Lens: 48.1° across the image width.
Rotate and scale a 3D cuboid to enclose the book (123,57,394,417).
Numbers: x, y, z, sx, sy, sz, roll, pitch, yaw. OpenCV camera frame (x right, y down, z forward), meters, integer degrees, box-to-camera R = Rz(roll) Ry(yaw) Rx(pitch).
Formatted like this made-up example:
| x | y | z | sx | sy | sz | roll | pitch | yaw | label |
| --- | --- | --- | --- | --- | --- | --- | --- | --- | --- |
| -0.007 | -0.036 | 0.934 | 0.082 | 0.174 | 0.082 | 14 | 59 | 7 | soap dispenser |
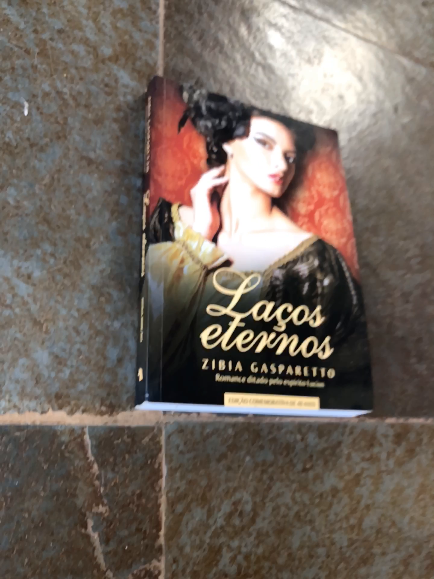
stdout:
| x | y | z | sx | sy | sz | roll | pitch | yaw | label |
| --- | --- | --- | --- | --- | --- | --- | --- | --- | --- |
| 0.025 | -0.030 | 0.299 | 0.154 | 0.027 | 0.205 | 9 | 66 | -25 | book |
